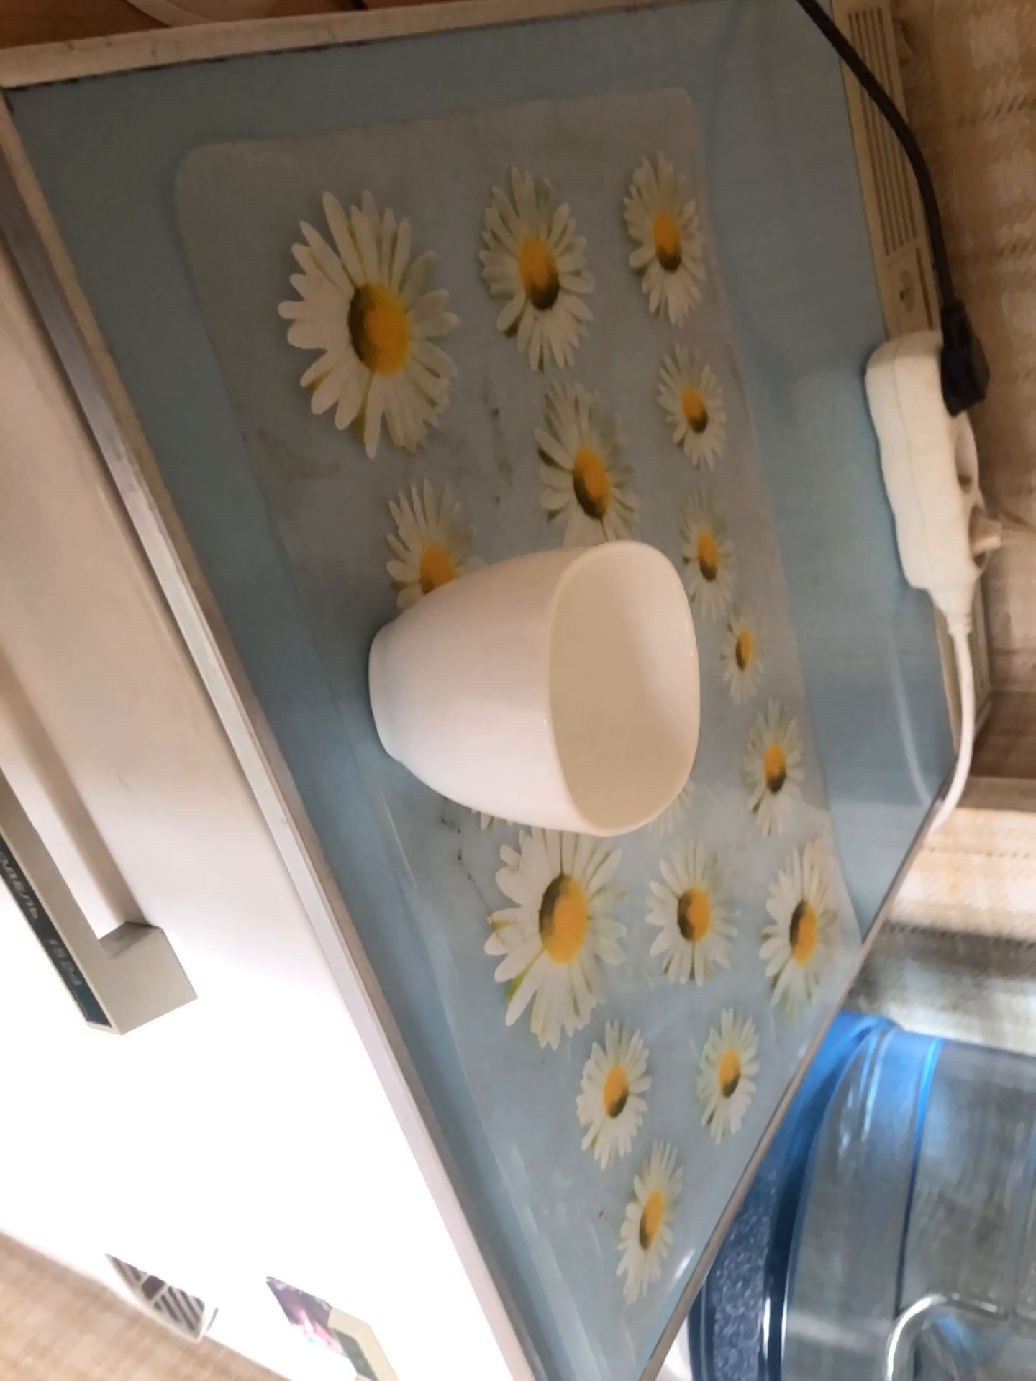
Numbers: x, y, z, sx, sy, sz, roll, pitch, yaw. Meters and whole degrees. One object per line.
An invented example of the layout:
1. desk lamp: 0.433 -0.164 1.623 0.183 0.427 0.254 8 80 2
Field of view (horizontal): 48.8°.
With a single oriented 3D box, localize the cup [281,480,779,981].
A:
1. cup: 0.010 0.006 0.310 0.103 0.070 0.085 -45 124 -43
